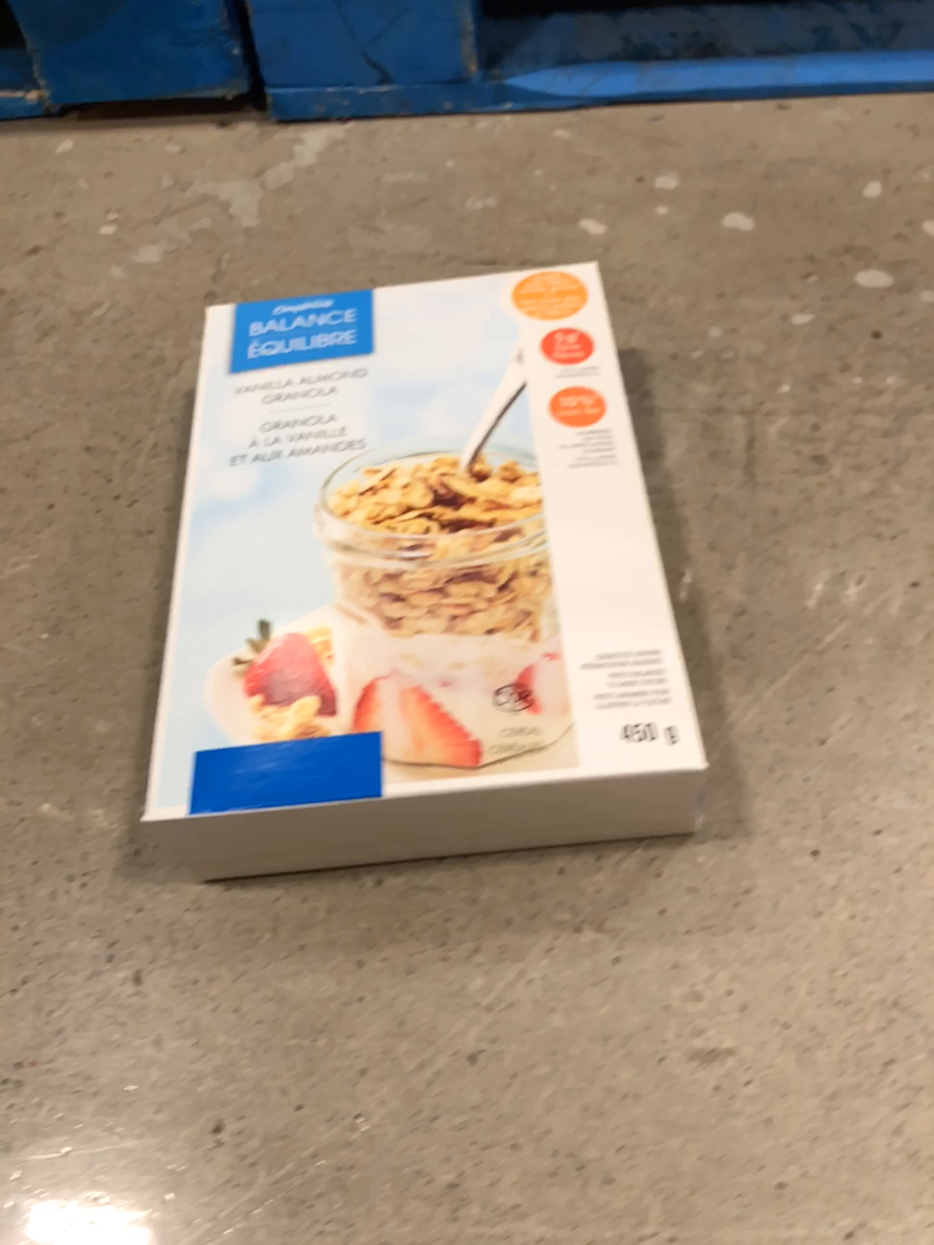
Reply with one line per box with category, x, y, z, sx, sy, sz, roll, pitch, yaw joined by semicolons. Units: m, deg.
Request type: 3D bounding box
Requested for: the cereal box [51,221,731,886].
cereal box;-0.029;-0.039;0.377;0.190;0.050;0.240;-6;56;1
